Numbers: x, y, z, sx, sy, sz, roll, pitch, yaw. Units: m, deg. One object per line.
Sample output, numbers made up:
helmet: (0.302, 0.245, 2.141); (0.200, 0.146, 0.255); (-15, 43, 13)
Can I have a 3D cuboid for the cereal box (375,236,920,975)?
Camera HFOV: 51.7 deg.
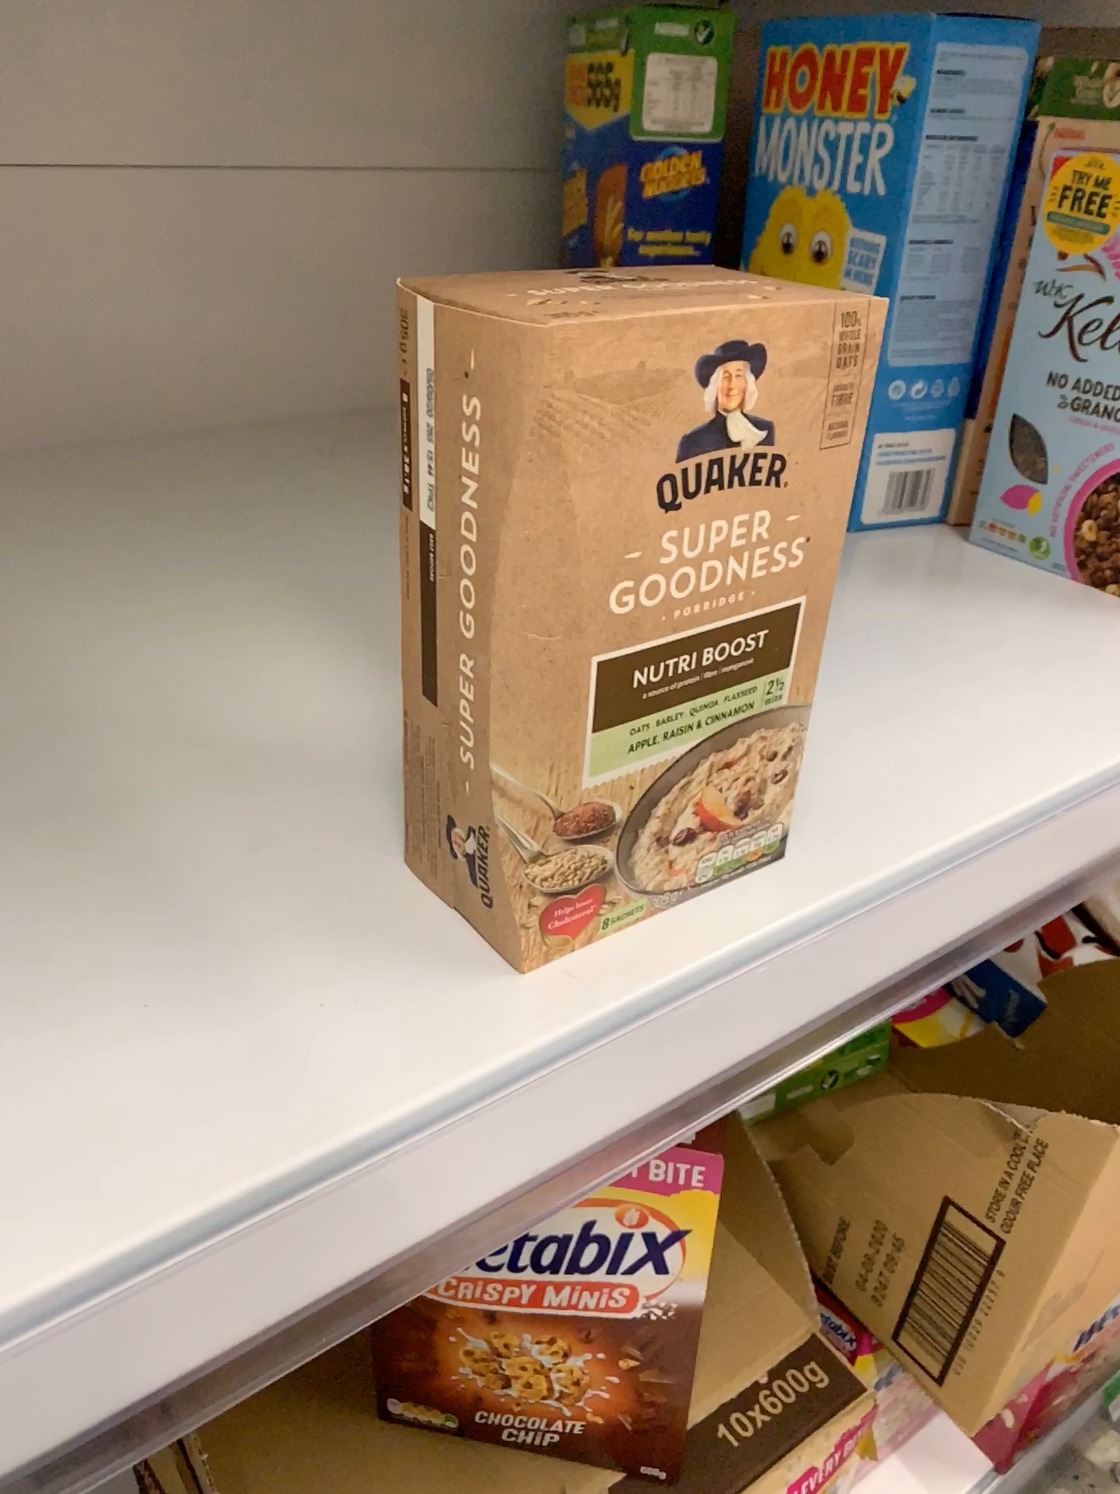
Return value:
cereal box: (0.023, -0.050, 0.369); (0.141, 0.198, 0.070); (-18, 35, -33)
